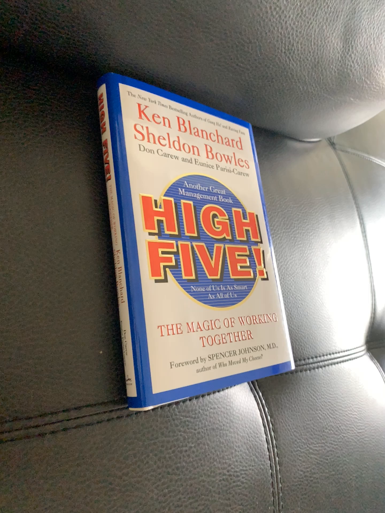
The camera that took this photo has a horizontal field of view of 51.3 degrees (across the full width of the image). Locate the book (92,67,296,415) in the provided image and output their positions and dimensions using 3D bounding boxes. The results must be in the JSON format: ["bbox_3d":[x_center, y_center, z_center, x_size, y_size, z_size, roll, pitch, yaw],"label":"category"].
[{"bbox_3d":[0.007,-0.014,0.304,0.151,0.023,0.220,2,76,-42],"label":"book"}]
